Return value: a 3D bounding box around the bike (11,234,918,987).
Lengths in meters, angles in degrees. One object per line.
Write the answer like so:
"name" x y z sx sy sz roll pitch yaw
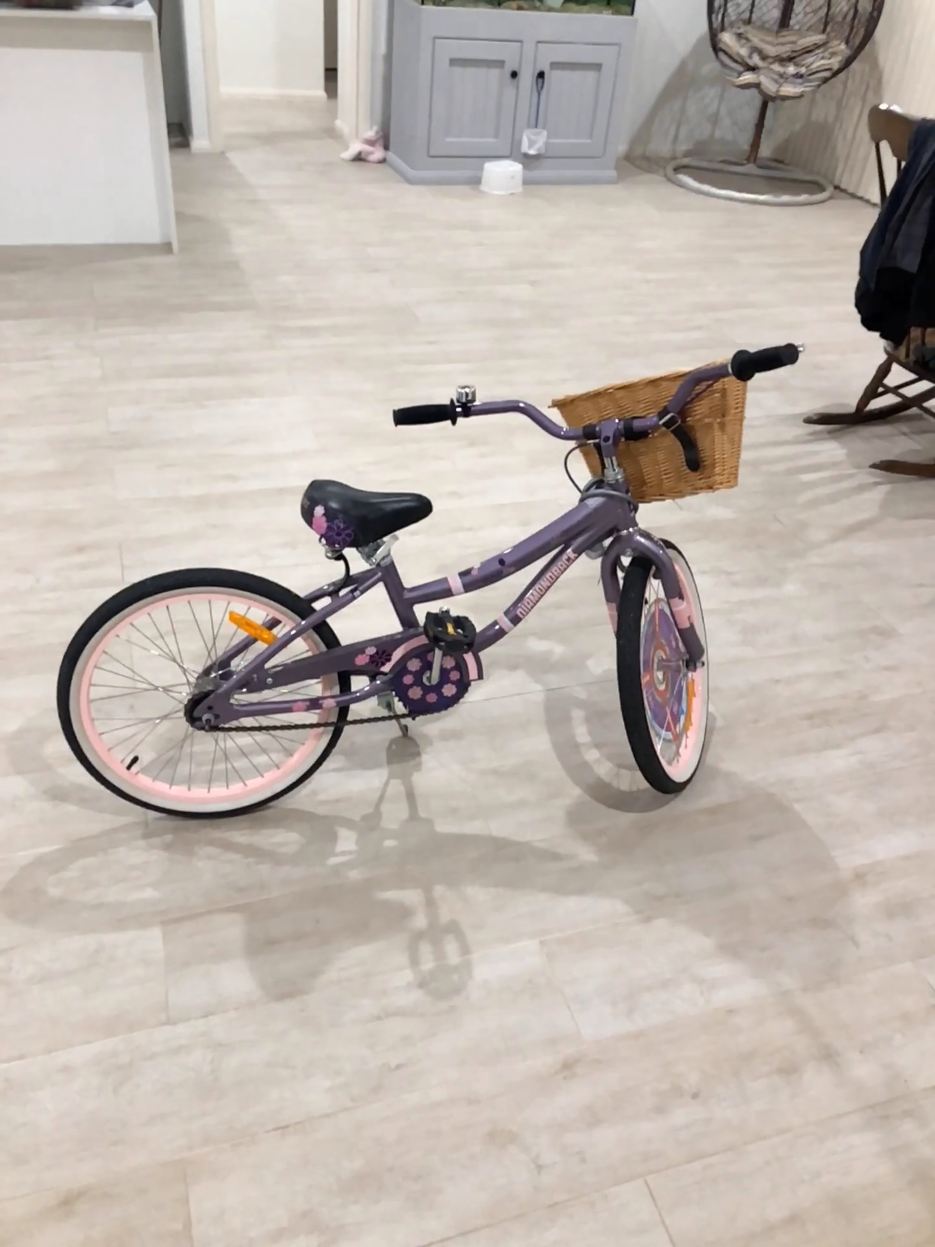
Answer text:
"bike" -0.053 -0.065 1.793 1.215 0.877 0.751 -5 37 -22
